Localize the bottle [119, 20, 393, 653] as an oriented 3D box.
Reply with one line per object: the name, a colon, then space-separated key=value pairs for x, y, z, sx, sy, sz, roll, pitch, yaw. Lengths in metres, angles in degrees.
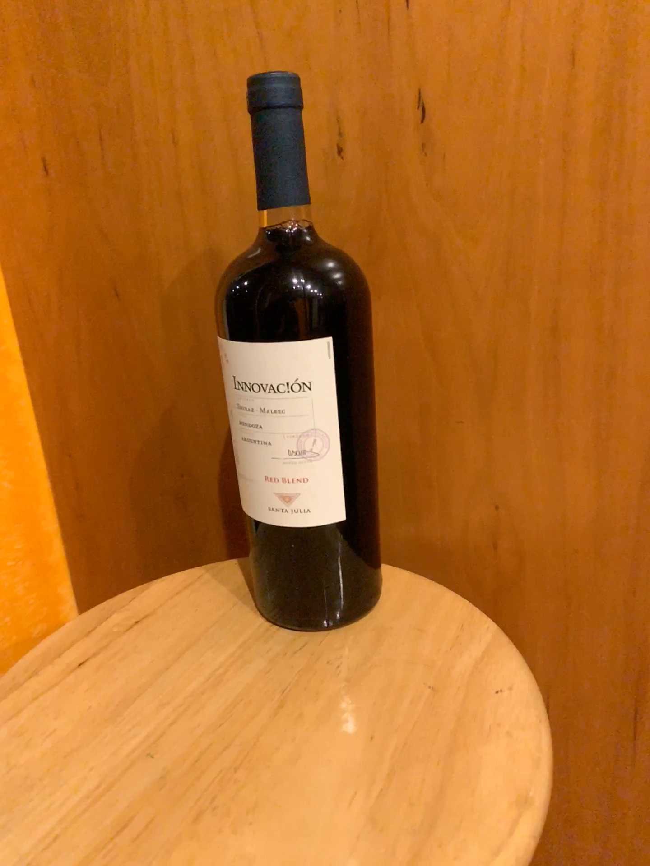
bottle: x=-0.026 y=-0.040 z=0.367 sx=0.090 sy=0.299 sz=0.080 roll=4 pitch=19 yaw=25
